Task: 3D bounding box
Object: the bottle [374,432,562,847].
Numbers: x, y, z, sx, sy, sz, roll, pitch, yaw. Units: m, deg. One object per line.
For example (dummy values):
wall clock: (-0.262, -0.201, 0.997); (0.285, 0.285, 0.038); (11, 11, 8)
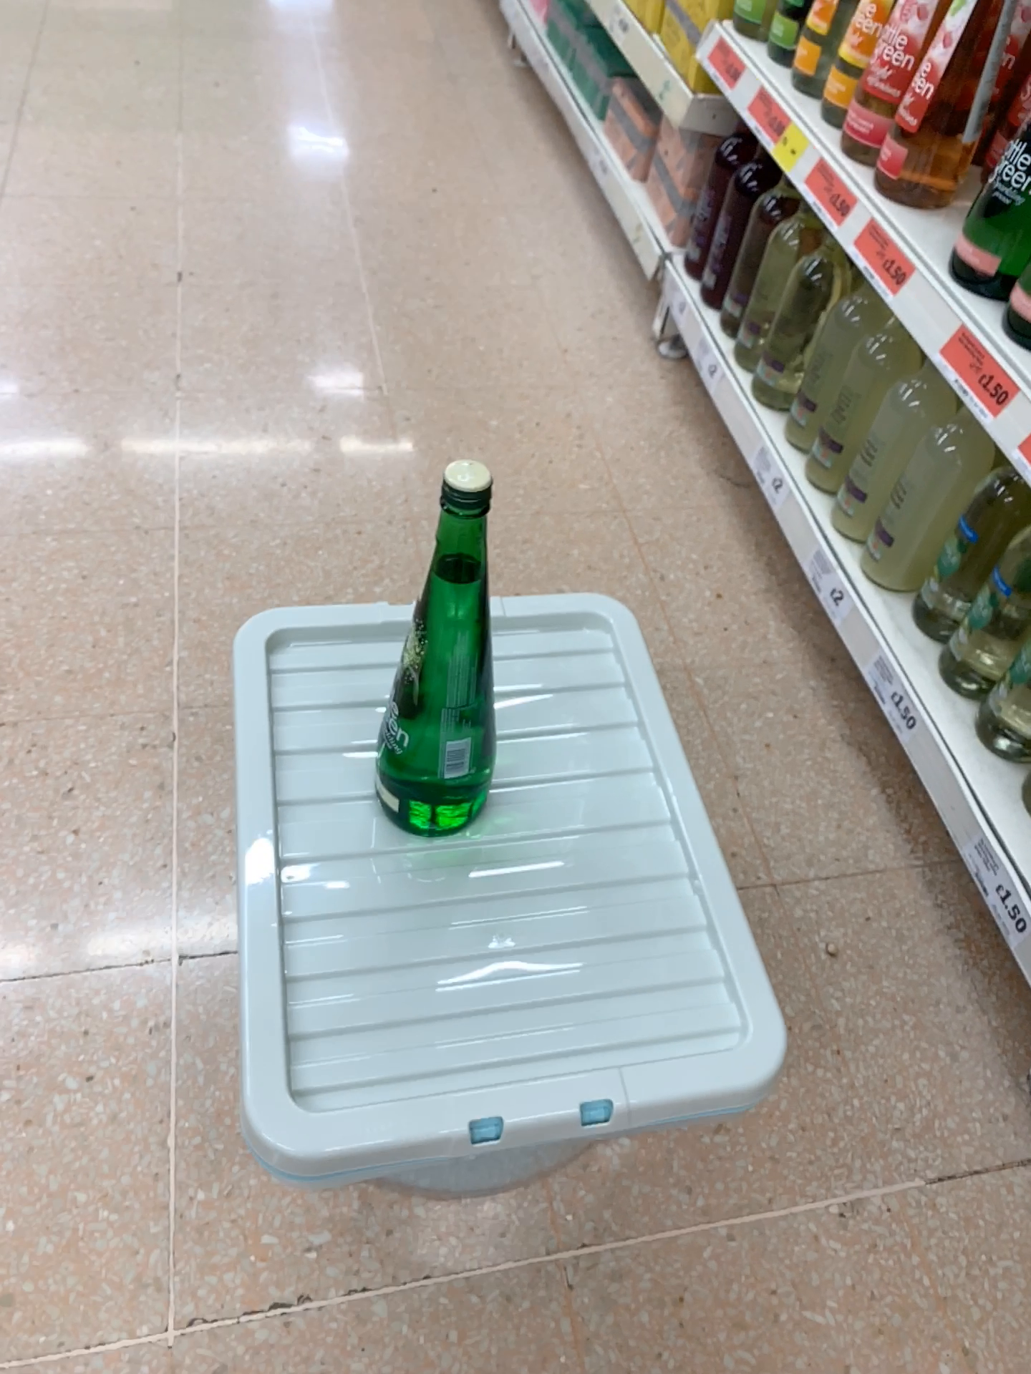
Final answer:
bottle: (-0.041, -0.014, 0.686); (0.093, 0.297, 0.085); (4, 49, -5)
